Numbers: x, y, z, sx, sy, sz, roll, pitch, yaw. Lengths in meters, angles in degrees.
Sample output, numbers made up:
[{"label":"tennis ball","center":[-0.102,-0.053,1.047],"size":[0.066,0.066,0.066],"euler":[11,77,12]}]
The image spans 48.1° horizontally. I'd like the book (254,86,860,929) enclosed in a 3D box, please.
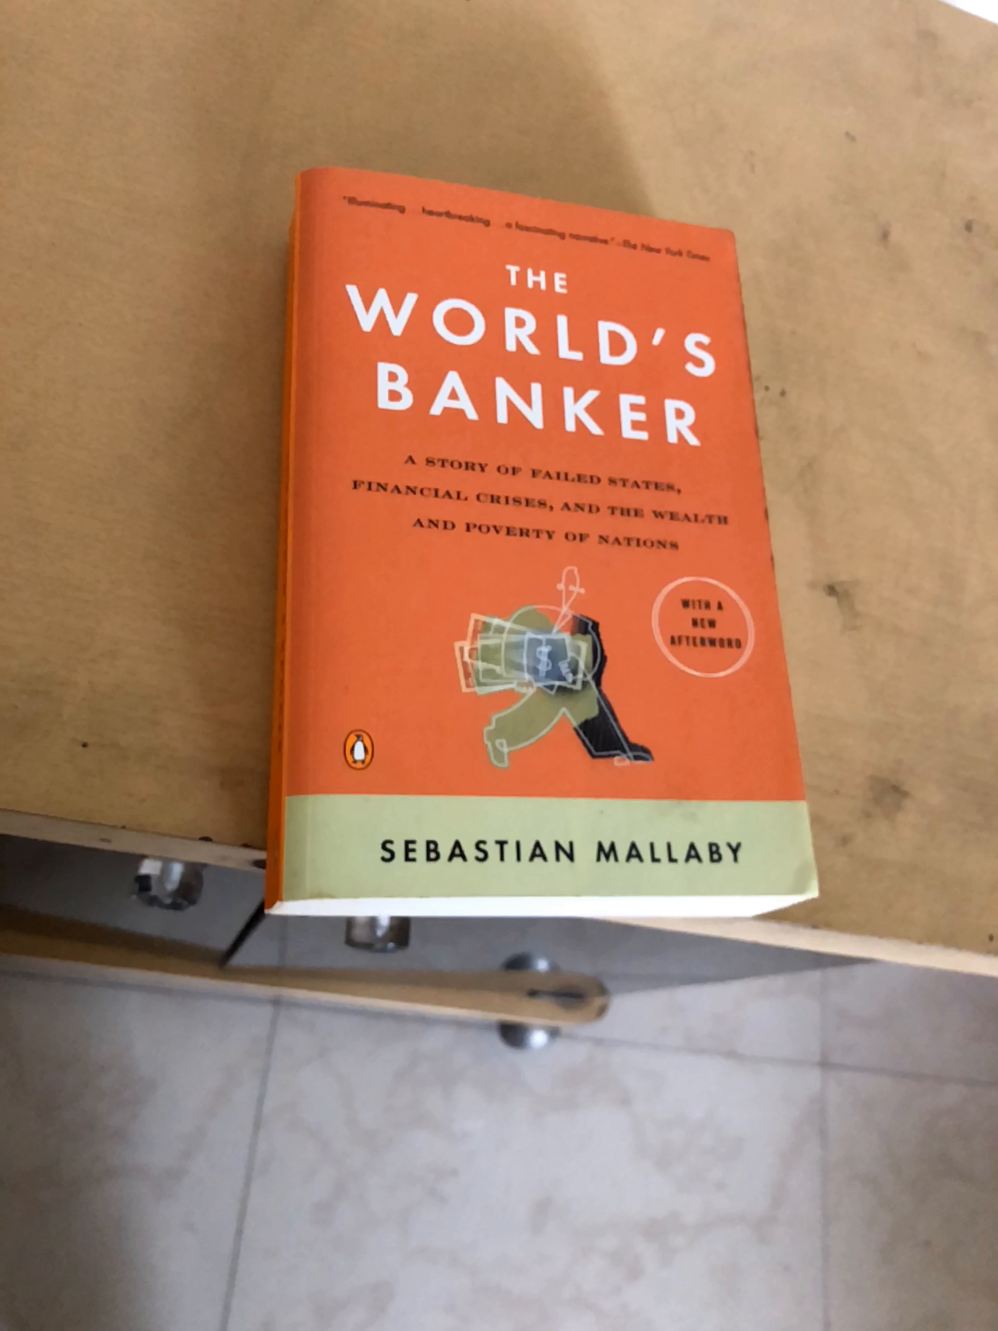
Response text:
[{"label":"book","center":[0.012,-0.044,0.299],"size":[0.140,0.030,0.220],"euler":[4,70,-16]}]
